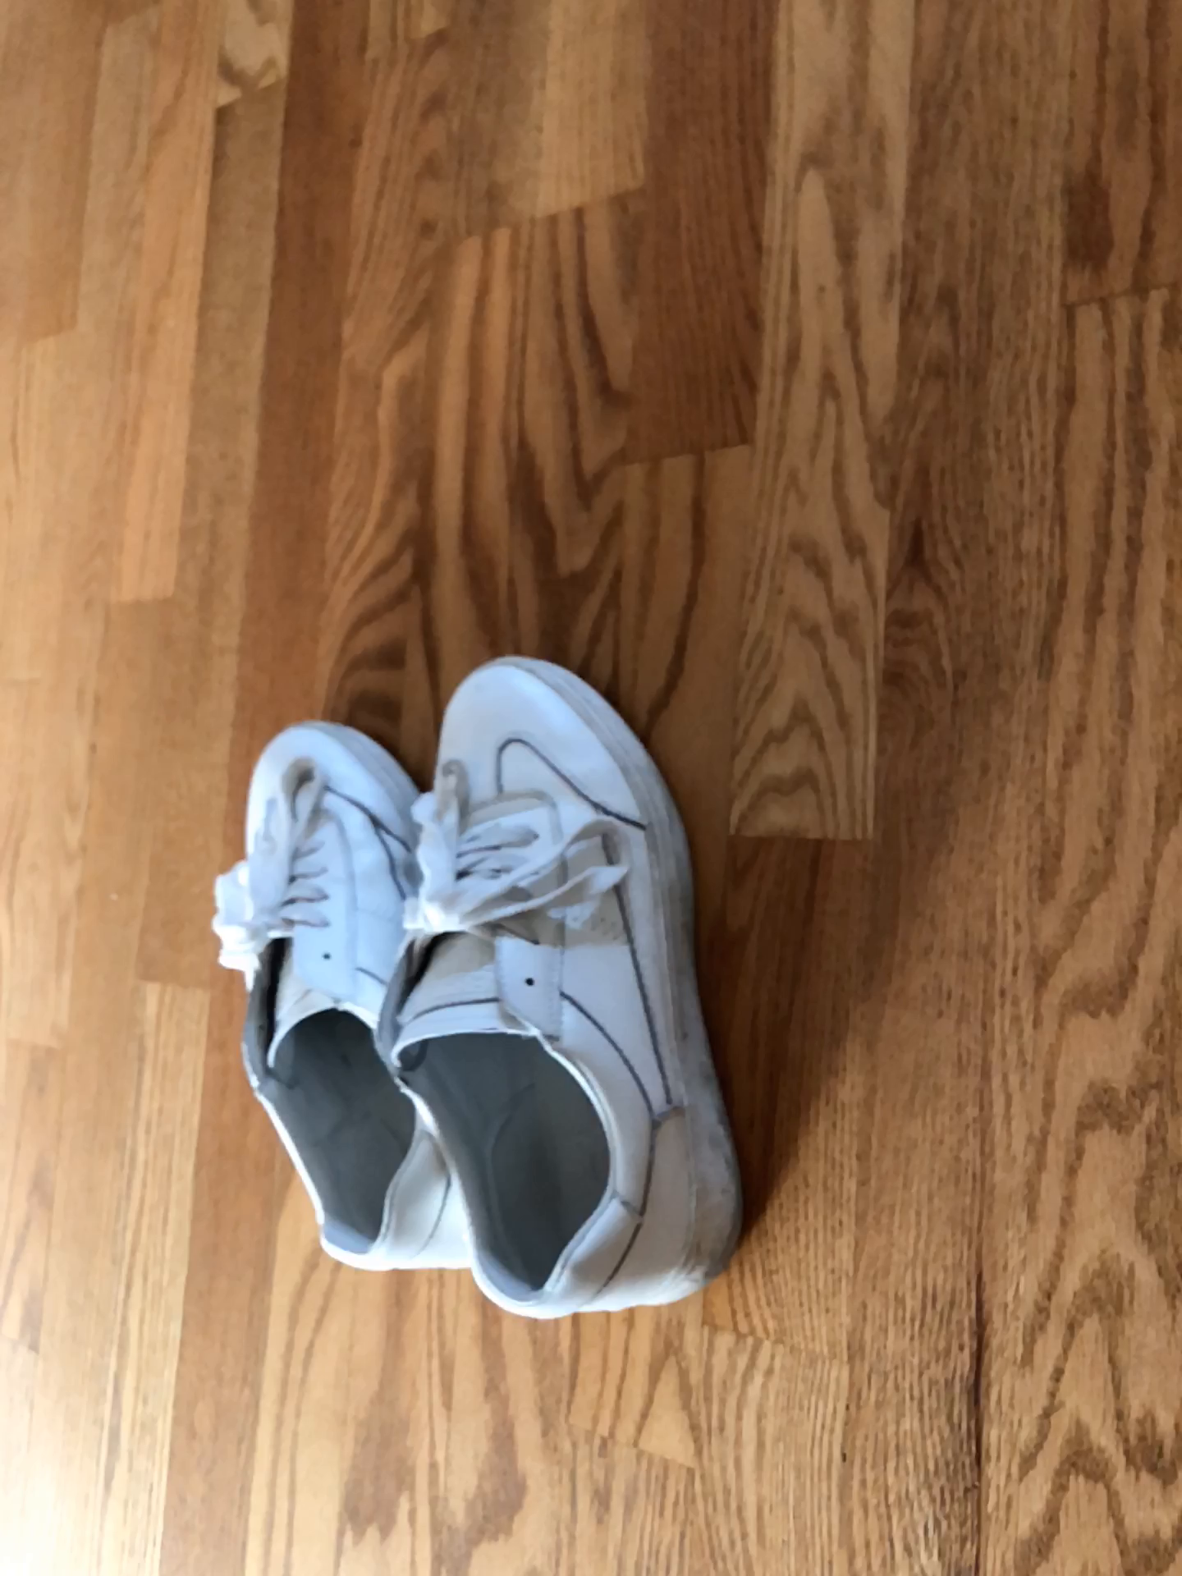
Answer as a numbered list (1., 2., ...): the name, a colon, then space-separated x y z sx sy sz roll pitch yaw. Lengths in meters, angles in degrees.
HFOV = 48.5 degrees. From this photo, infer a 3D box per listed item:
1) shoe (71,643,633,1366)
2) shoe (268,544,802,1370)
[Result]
1. shoe: -0.107 0.080 0.547 0.103 0.104 0.260 -42 63 24
2. shoe: -0.025 0.060 0.489 0.103 0.106 0.260 -24 71 31
